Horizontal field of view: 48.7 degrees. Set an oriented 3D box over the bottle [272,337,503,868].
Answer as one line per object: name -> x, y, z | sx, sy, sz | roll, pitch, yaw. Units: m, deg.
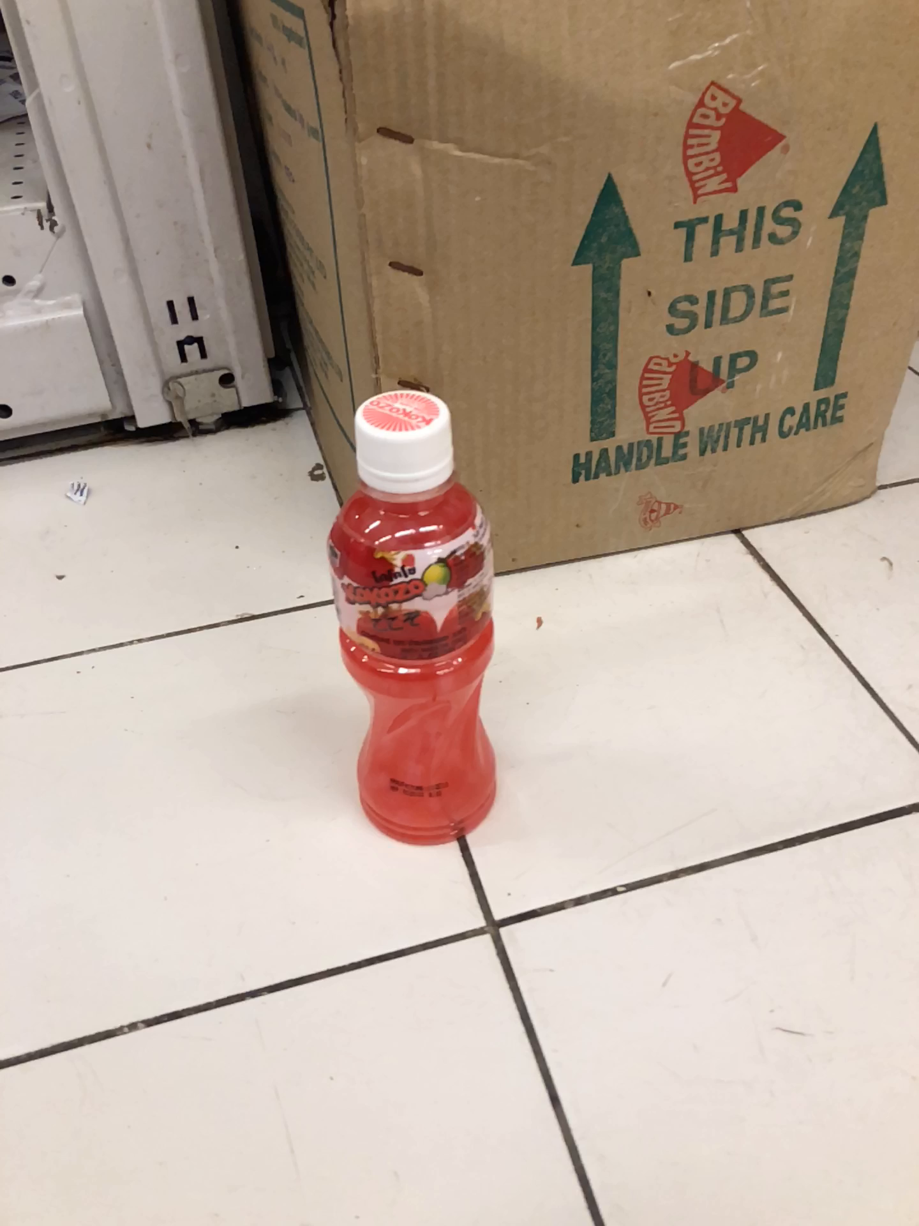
bottle -> -0.021, 0.005, 0.367 | 0.060, 0.189, 0.060 | -1, 40, 1
